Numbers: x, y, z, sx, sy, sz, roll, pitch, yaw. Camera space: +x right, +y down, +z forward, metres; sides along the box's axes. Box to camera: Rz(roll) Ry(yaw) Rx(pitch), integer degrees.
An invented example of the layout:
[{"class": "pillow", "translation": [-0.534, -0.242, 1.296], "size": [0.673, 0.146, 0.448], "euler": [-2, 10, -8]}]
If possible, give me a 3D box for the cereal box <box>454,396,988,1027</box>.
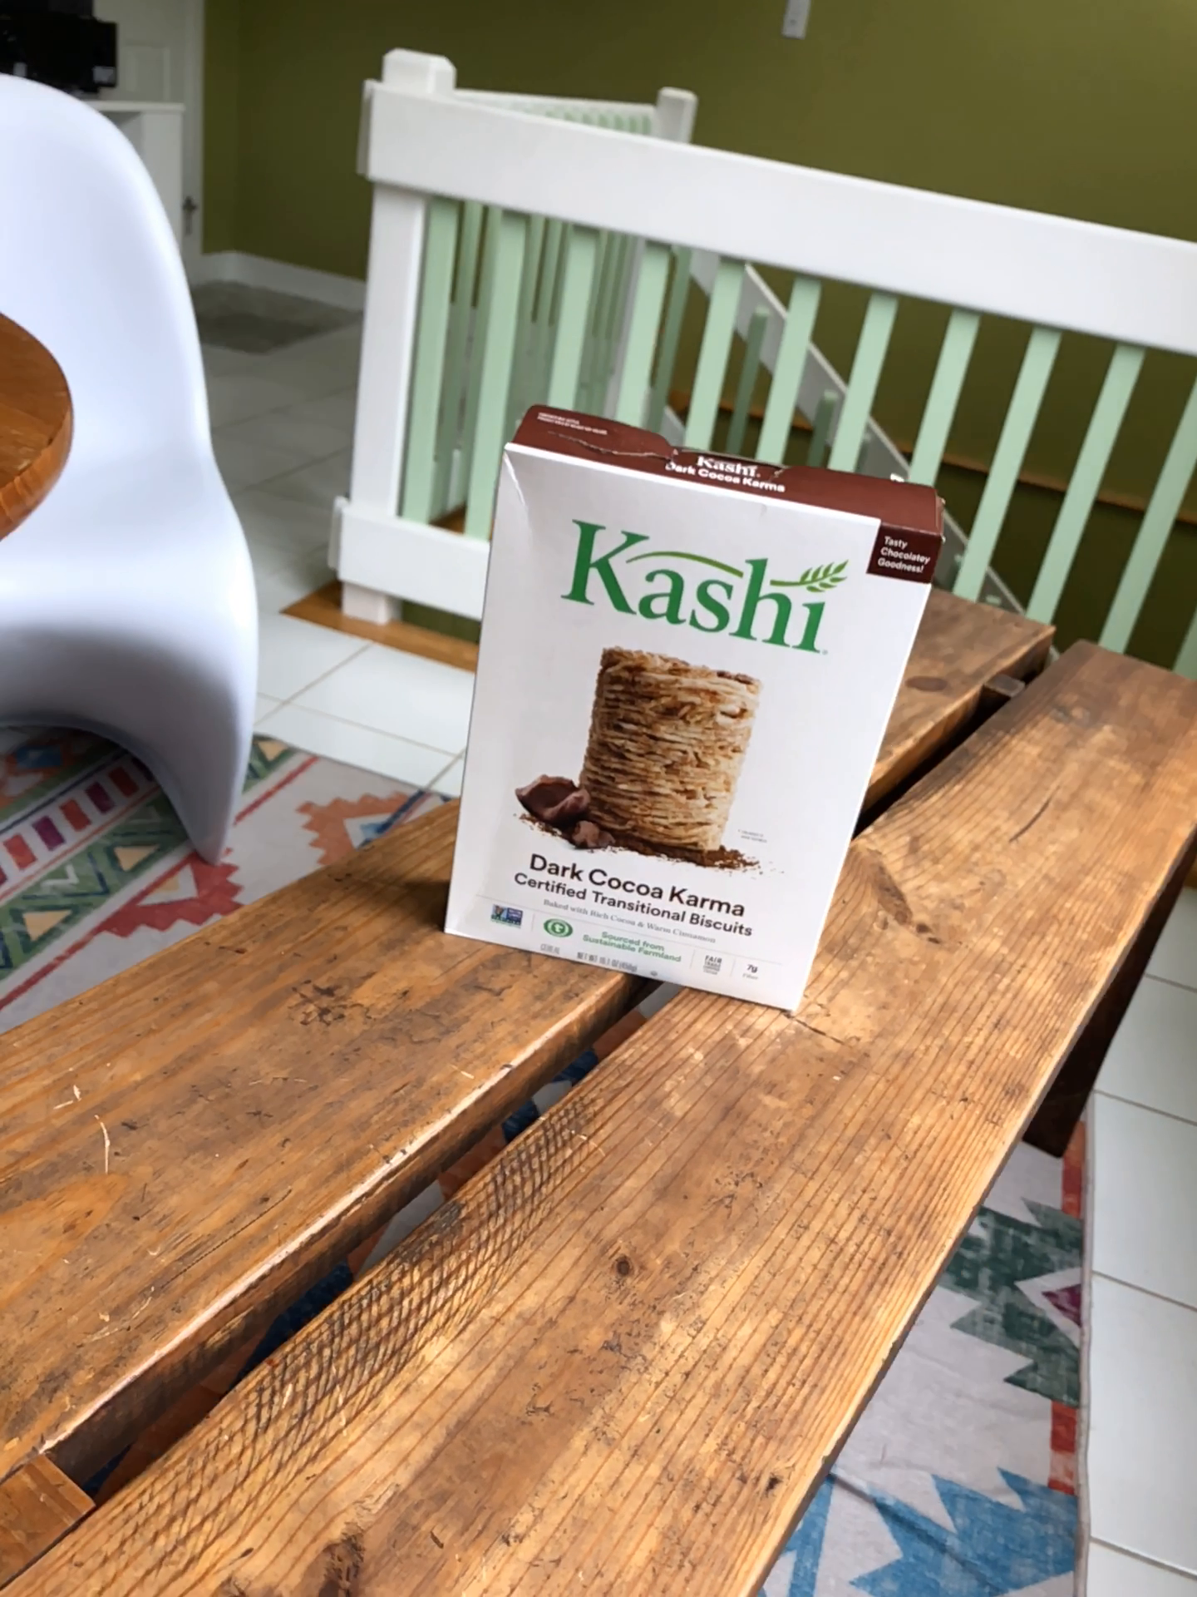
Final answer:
[{"class": "cereal box", "translation": [0.046, -0.032, 0.649], "size": [0.200, 0.278, 0.060], "euler": [12, 33, 2]}]
